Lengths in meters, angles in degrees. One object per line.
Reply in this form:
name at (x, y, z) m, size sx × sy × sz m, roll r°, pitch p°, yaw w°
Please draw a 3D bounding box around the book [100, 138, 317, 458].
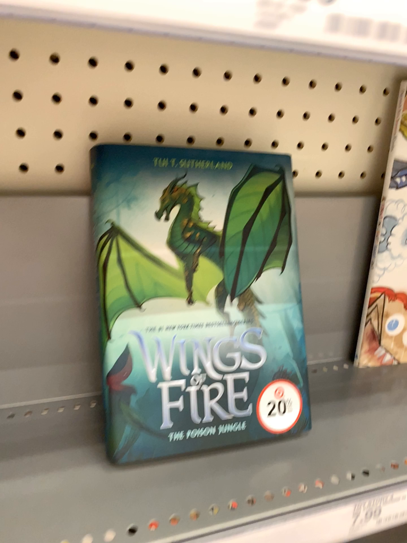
book at (0.003, 0.013, 0.322) m, size 0.150 × 0.215 × 0.036 m, roll -2°, pitch -4°, yaw -17°
